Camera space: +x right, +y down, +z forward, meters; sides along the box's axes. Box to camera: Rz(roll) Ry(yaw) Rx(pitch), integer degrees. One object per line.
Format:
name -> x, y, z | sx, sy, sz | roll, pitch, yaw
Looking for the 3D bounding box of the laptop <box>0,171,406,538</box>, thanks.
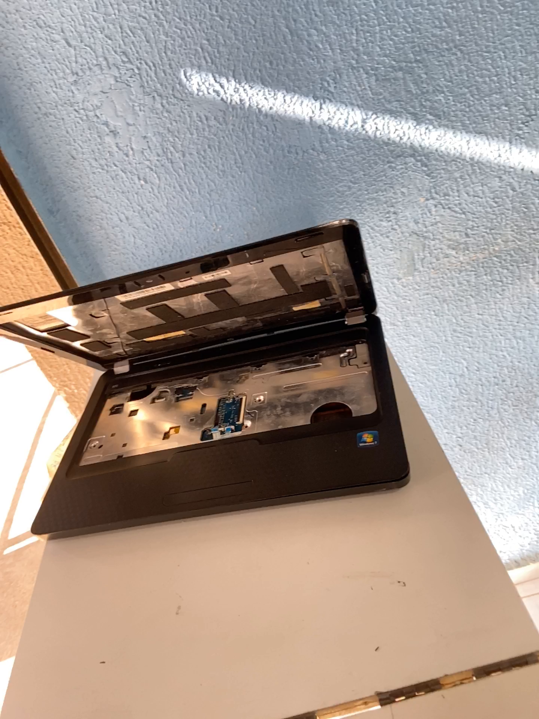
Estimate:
laptop -> -0.073, -0.008, 0.486 | 0.326, 0.153, 0.223 | -12, 35, 12
